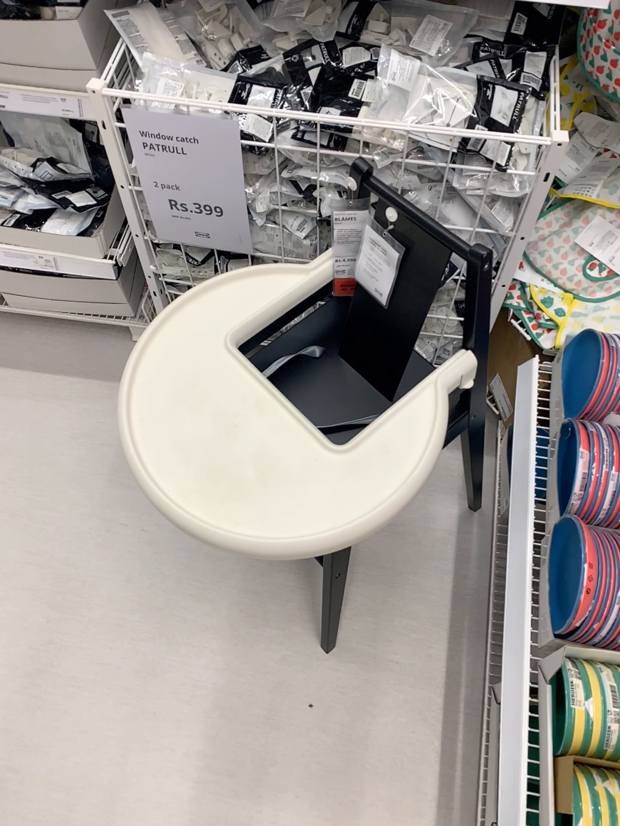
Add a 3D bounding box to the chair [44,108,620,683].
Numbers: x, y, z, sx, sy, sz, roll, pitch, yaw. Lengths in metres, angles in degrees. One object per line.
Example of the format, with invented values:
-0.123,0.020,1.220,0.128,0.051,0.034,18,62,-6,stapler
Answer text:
0.042,0.043,1.143,0.550,0.779,0.531,-37,67,-17,chair
